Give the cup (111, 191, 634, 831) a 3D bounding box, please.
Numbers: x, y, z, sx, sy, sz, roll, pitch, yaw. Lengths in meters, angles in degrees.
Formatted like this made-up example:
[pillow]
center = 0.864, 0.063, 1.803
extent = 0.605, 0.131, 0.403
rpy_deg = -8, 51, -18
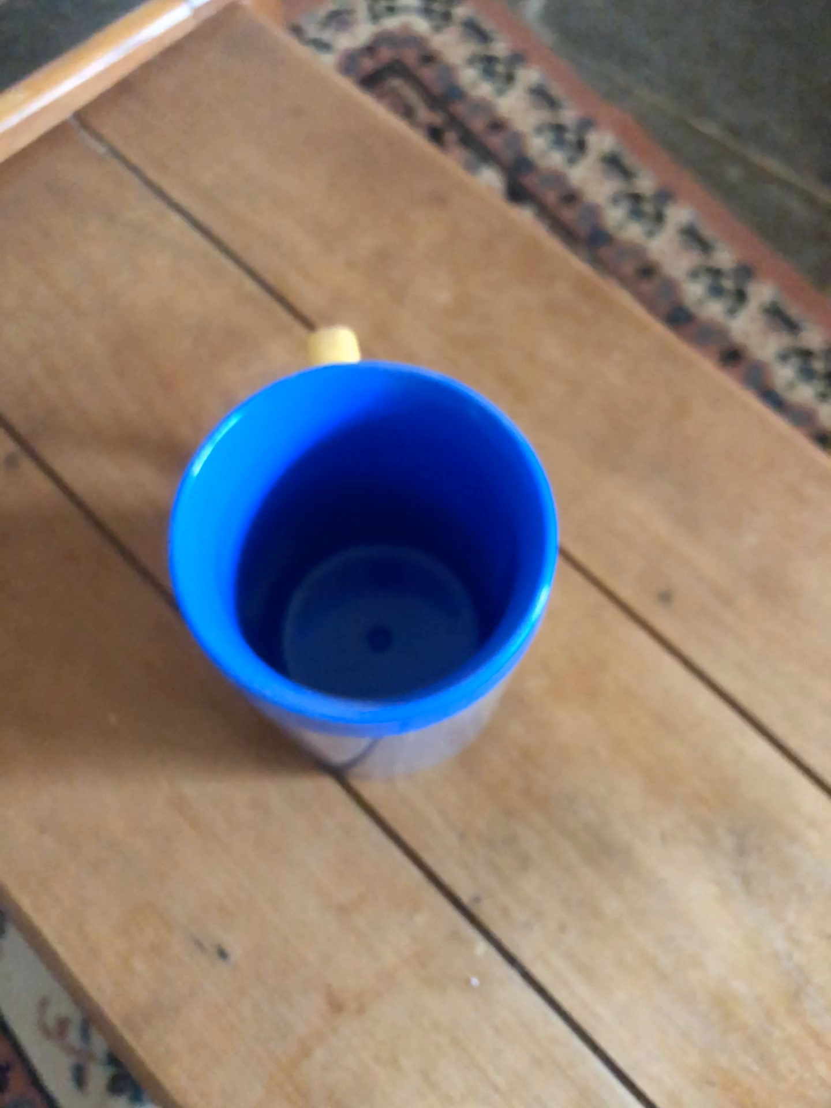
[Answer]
[cup]
center = -0.014, -0.002, 0.244
extent = 0.090, 0.110, 0.120
rpy_deg = -8, 70, -4
